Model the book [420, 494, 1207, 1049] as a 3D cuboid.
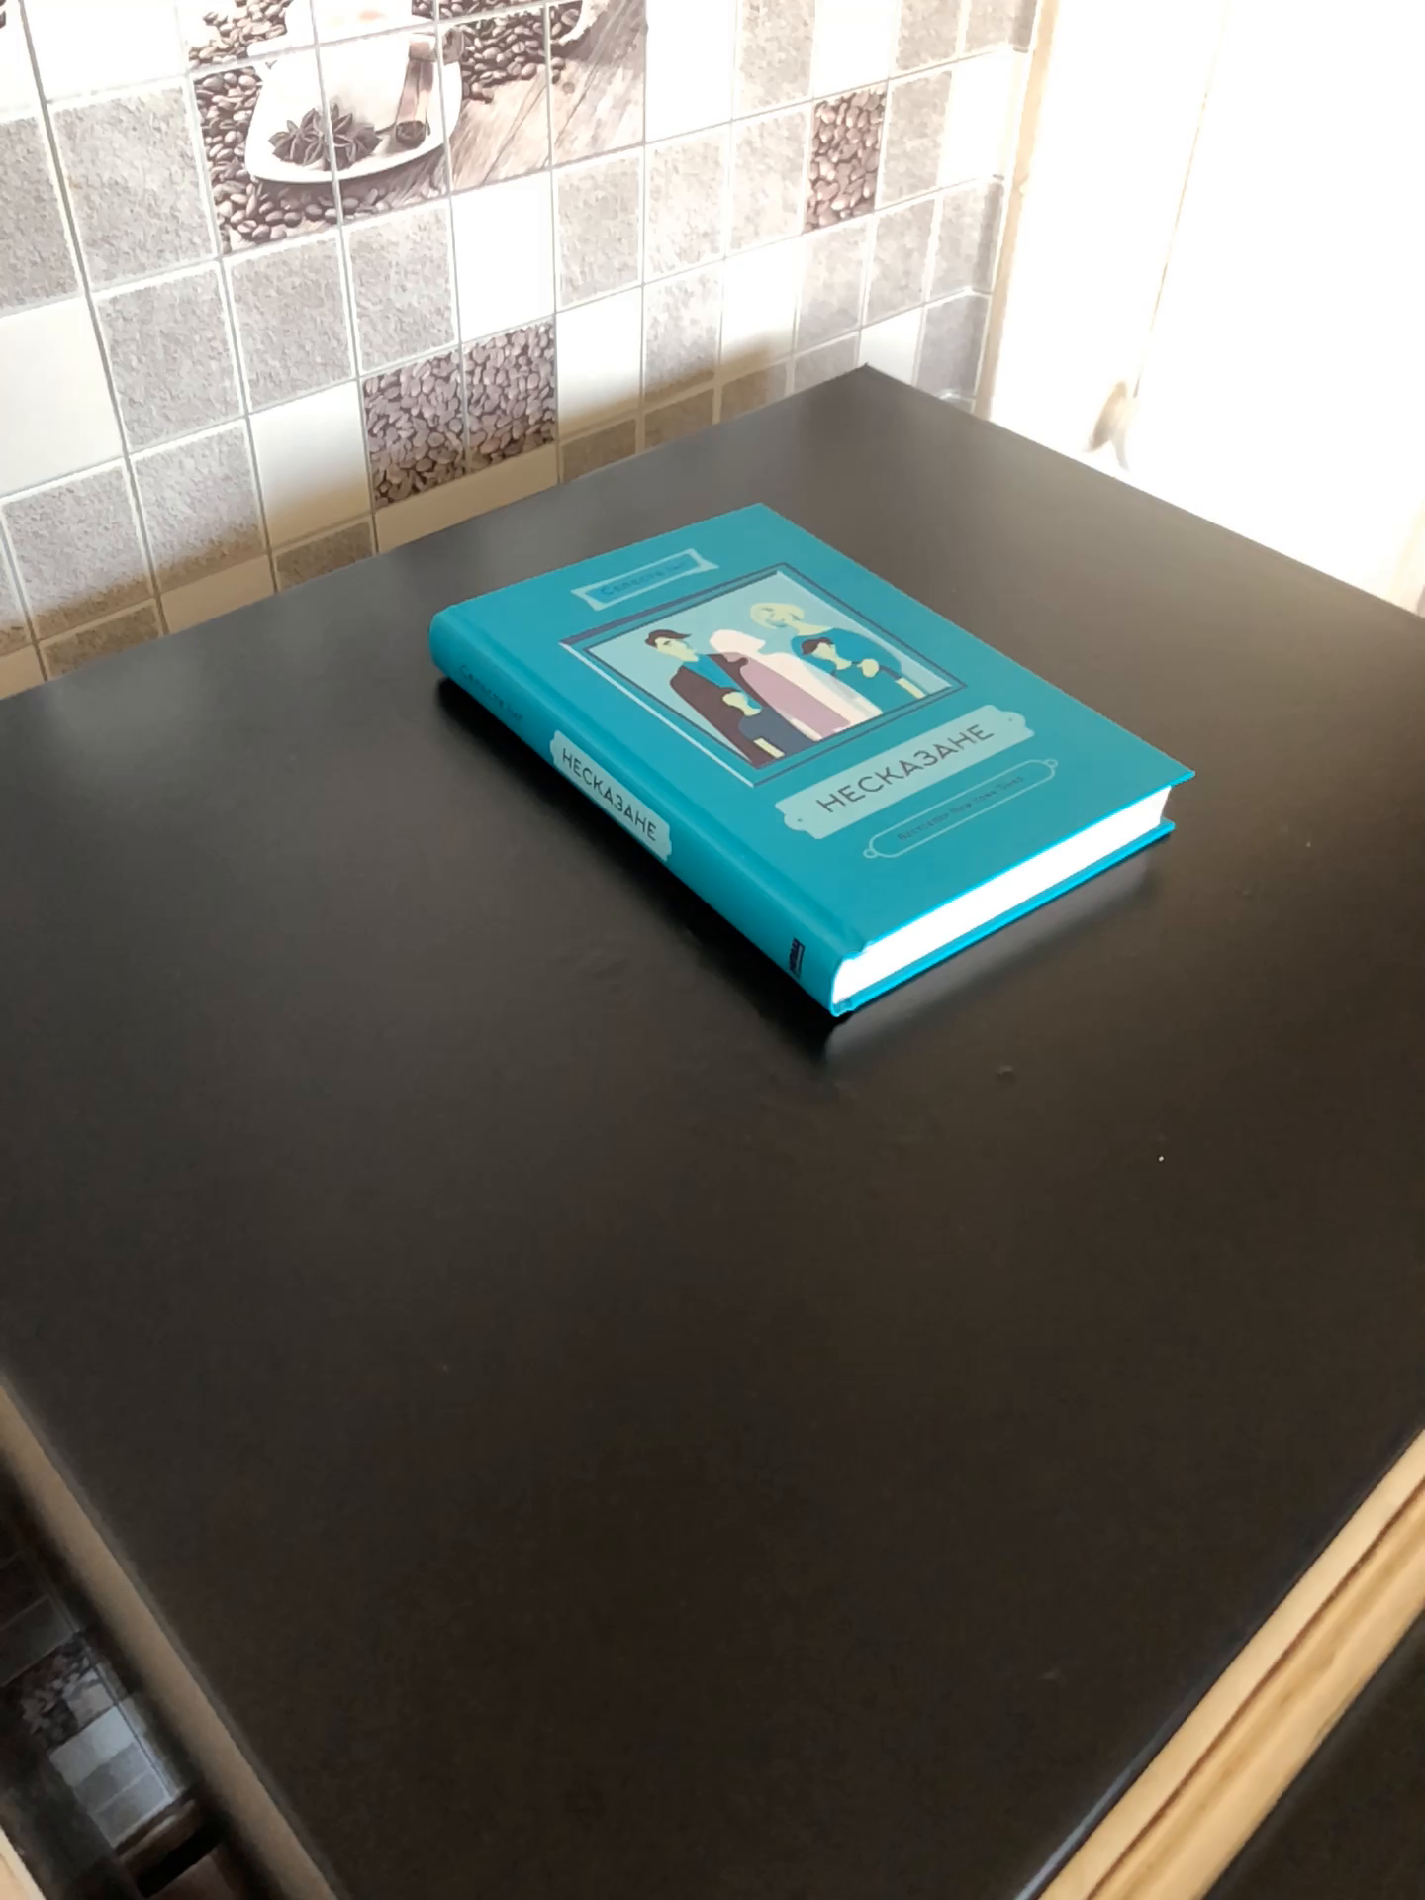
[{"bbox_3d":[0.026,-0.073,0.508,0.150,0.030,0.211,-27,51,-29],"label":"book"}]
